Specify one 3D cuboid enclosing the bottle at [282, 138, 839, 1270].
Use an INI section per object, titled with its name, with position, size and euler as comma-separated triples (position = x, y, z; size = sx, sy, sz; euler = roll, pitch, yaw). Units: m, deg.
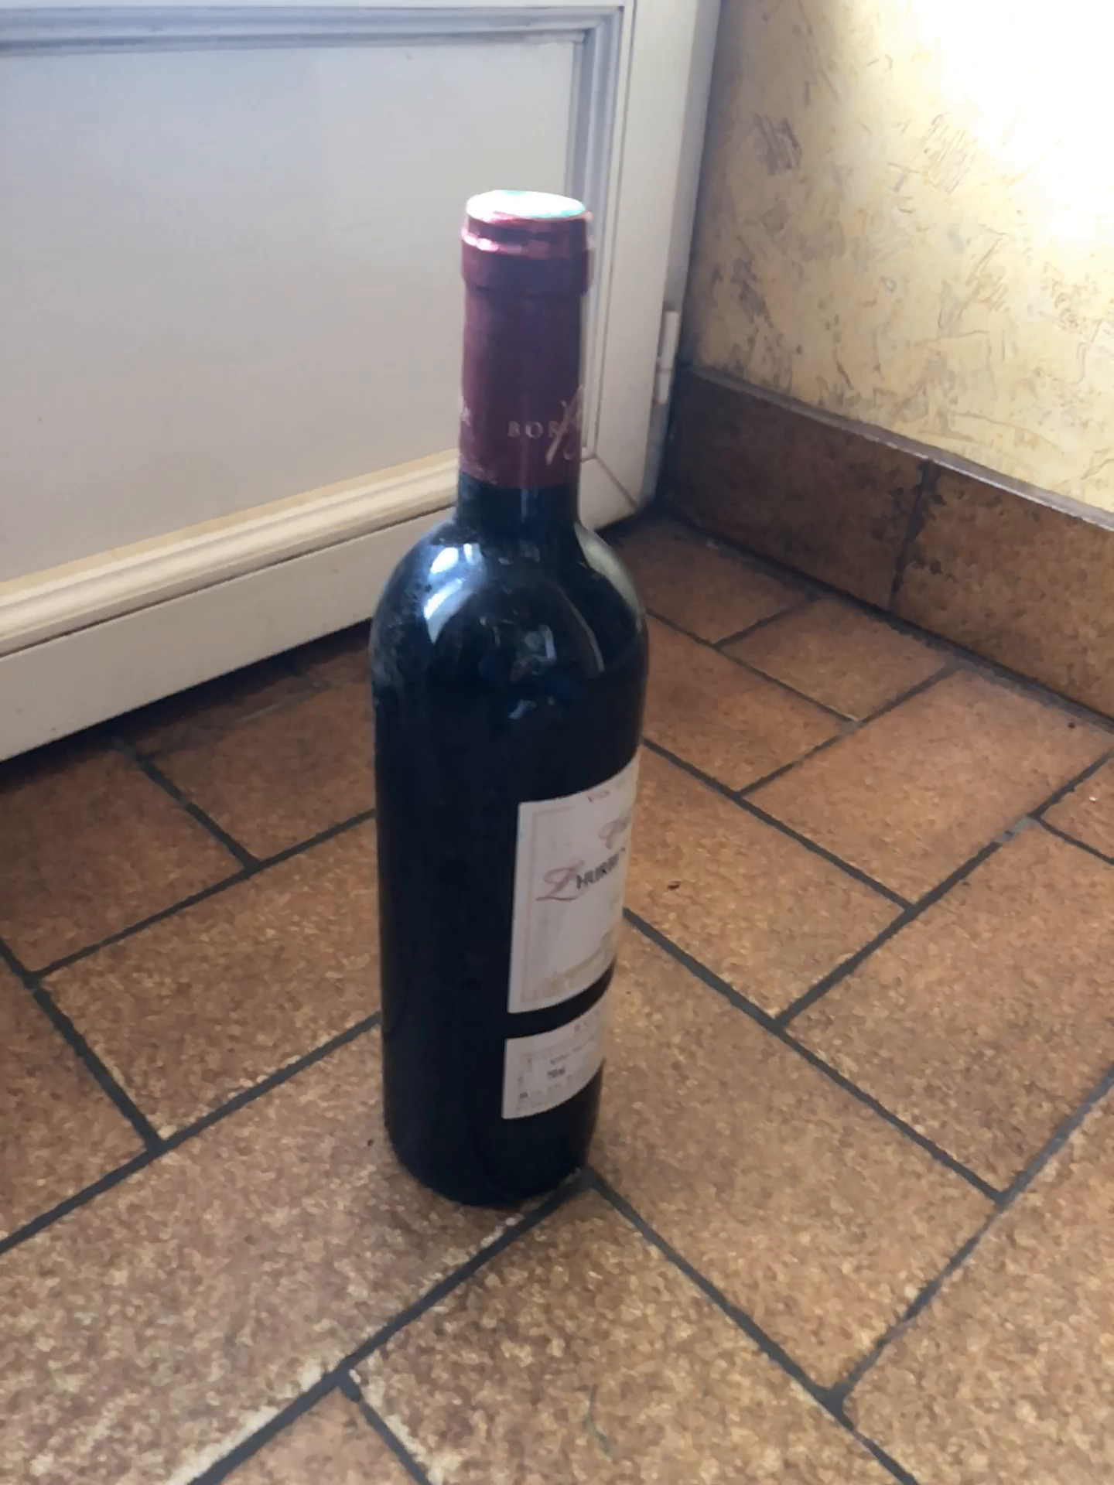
[bottle]
position = -0.003, 0.006, 0.334
size = 0.090, 0.288, 0.091
euler = 3, 34, -2
